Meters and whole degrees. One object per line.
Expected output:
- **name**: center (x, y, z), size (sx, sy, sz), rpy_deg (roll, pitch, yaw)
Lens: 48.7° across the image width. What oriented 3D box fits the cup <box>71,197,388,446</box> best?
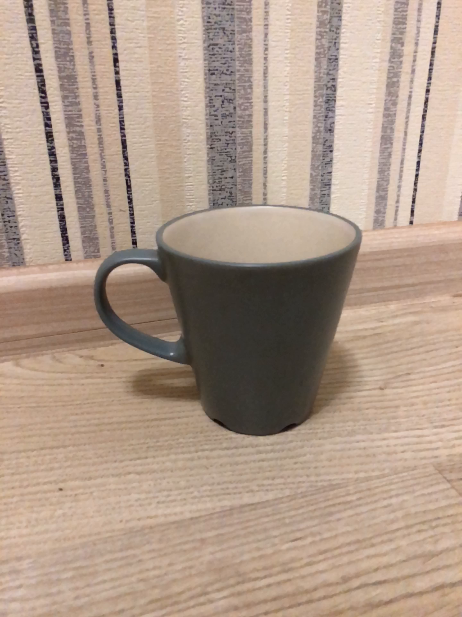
- **cup**: center (-0.002, 0.000, 0.262), size (0.124, 0.089, 0.096), rpy_deg (-2, 24, -3)
